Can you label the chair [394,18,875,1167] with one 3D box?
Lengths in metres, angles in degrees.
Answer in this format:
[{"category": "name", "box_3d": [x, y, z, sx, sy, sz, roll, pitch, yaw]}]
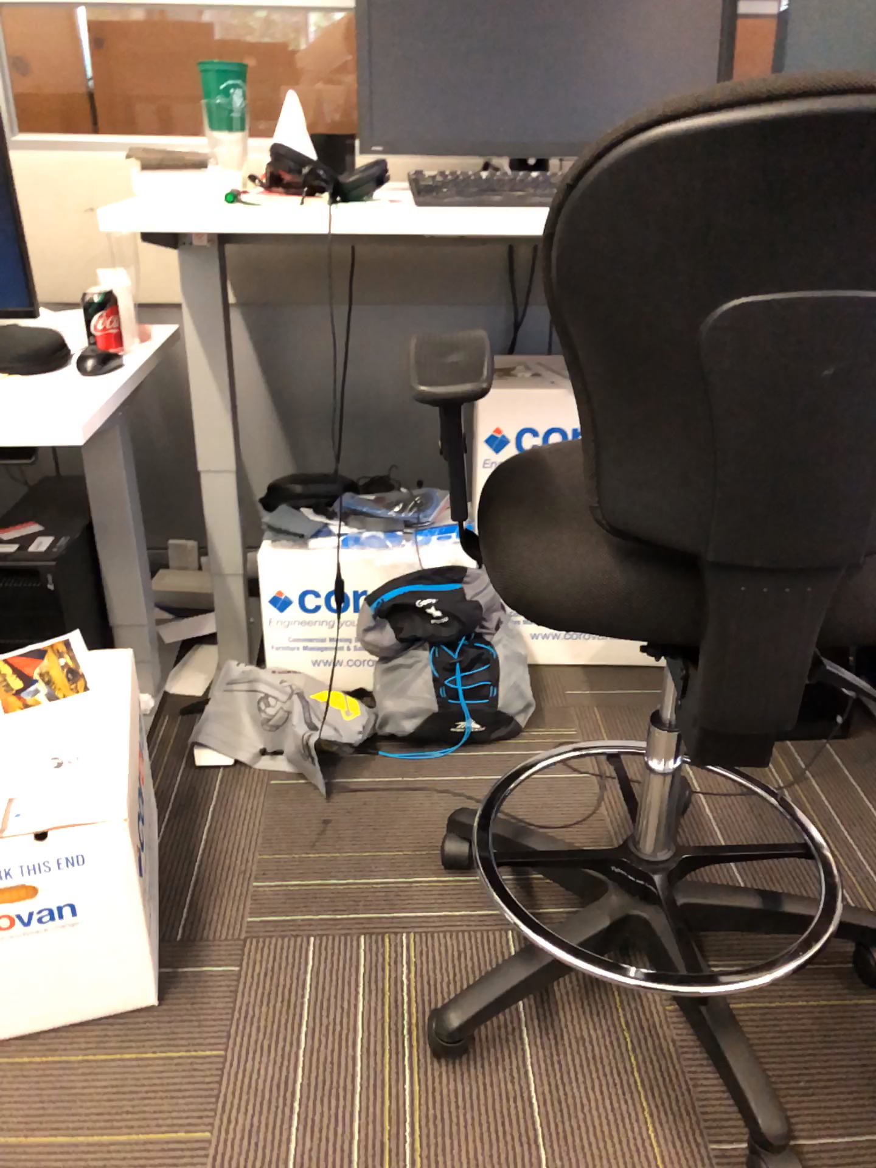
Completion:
[{"category": "chair", "box_3d": [0.302, 0.020, 1.139, 0.640, 1.134, 0.734, 1, 25, 1]}]
